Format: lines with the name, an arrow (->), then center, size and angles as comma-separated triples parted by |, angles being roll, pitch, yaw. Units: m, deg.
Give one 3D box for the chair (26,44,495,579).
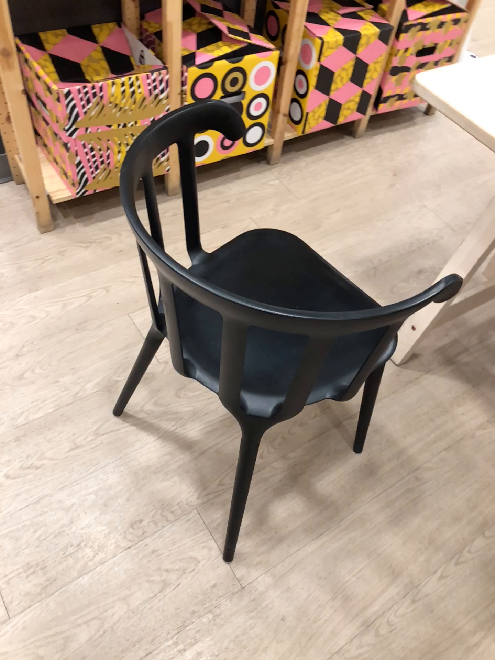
chair -> 0.032, -0.019, 1.018 | 0.531, 0.686, 0.532 | -31, 62, -27
